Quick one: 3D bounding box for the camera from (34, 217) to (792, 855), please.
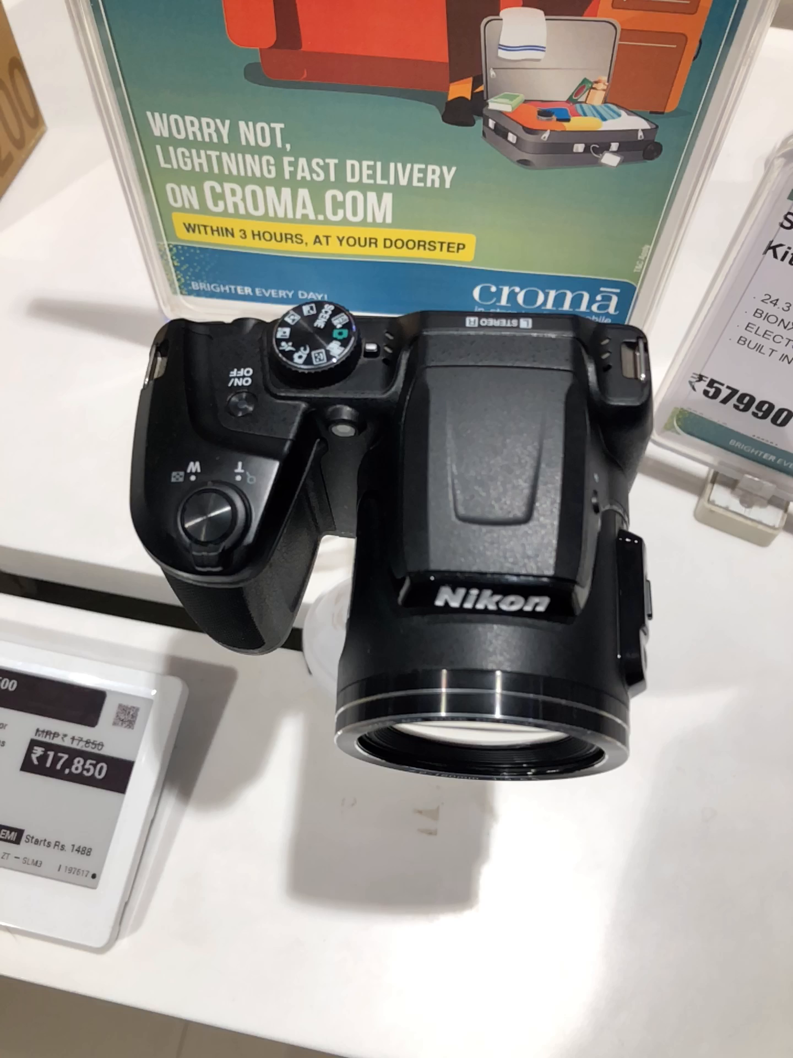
[{"bbox_3d":[0.004,0.002,0.185,0.110,0.070,0.111,2,60,0],"label":"camera"}]
